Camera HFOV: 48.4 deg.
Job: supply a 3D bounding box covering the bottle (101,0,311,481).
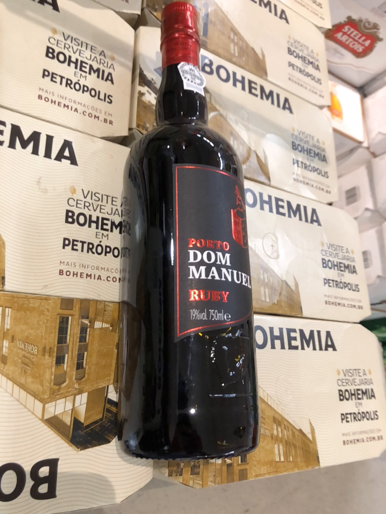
[{"bbox_3d":[0.004,-0.049,0.280,0.090,0.070,0.330,12,68,-39],"label":"bottle"}]
